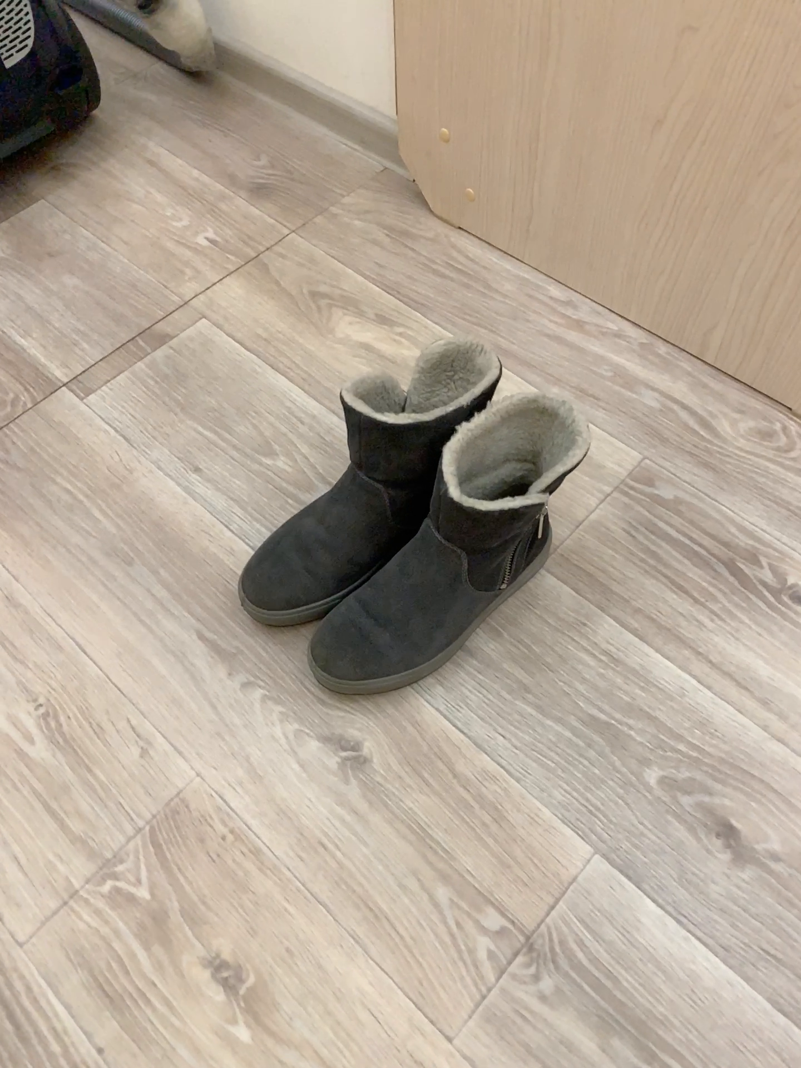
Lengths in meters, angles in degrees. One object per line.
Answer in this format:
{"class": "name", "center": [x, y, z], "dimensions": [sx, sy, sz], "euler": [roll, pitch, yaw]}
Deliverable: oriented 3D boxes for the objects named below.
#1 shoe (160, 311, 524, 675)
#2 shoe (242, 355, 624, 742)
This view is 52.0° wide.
{"class": "shoe", "center": [-0.037, -0.032, 0.697], "dimensions": [0.270, 0.179, 0.100], "euler": [-35, 63, -19]}
{"class": "shoe", "center": [0.030, 0.013, 0.648], "dimensions": [0.270, 0.169, 0.100], "euler": [-37, 64, -19]}
